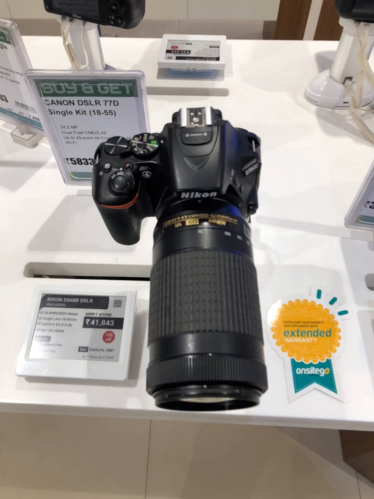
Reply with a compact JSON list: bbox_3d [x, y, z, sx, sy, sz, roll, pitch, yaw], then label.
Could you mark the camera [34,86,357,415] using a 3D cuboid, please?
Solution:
[{"bbox_3d":[0.005,-0.007,0.271,0.140,0.090,0.201,0,56,1],"label":"camera"}]
